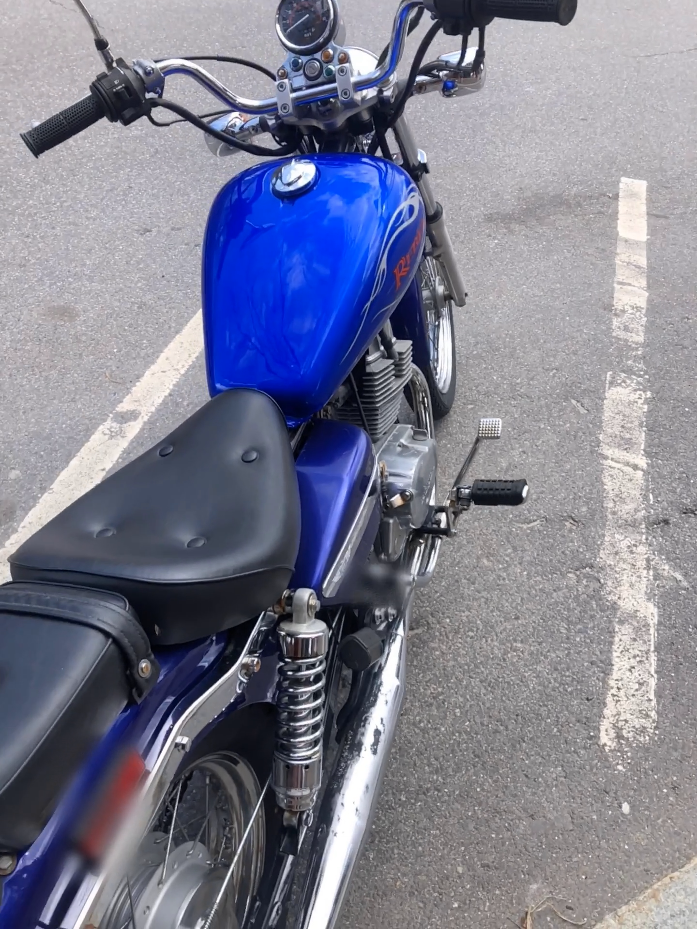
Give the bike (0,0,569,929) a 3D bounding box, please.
[{"bbox_3d":[-0.175,-0.195,1.203,0.787,1.037,1.921,9,46,10],"label":"bike"}]
